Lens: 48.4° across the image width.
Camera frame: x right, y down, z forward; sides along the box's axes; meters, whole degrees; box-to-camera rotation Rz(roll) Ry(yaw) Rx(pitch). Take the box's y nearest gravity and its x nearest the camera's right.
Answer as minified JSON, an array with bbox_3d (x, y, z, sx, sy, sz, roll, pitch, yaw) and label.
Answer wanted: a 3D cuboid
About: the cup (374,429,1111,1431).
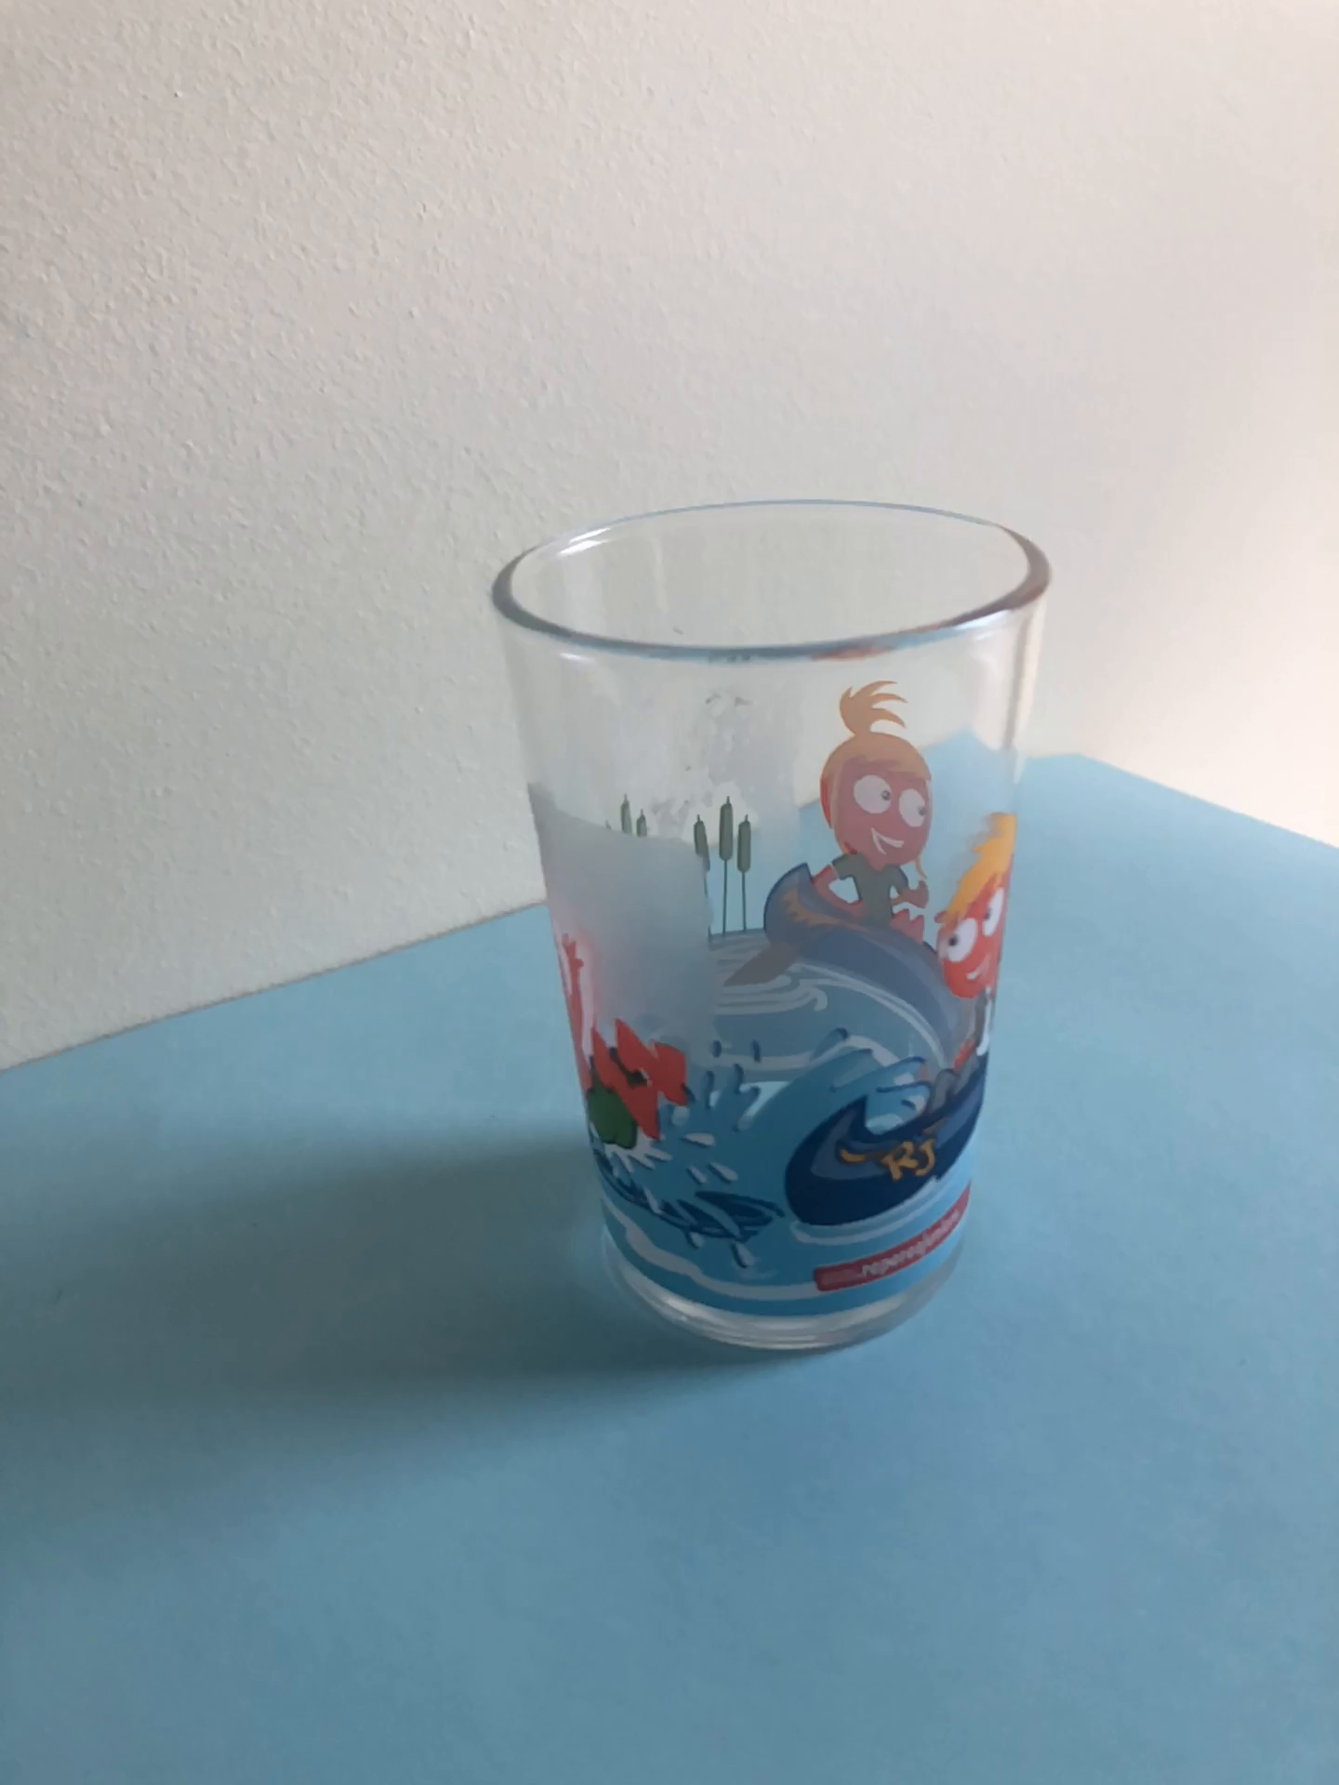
[{"bbox_3d":[0.012,0.000,0.189,0.060,0.099,0.060,-3,27,1],"label":"cup"}]
